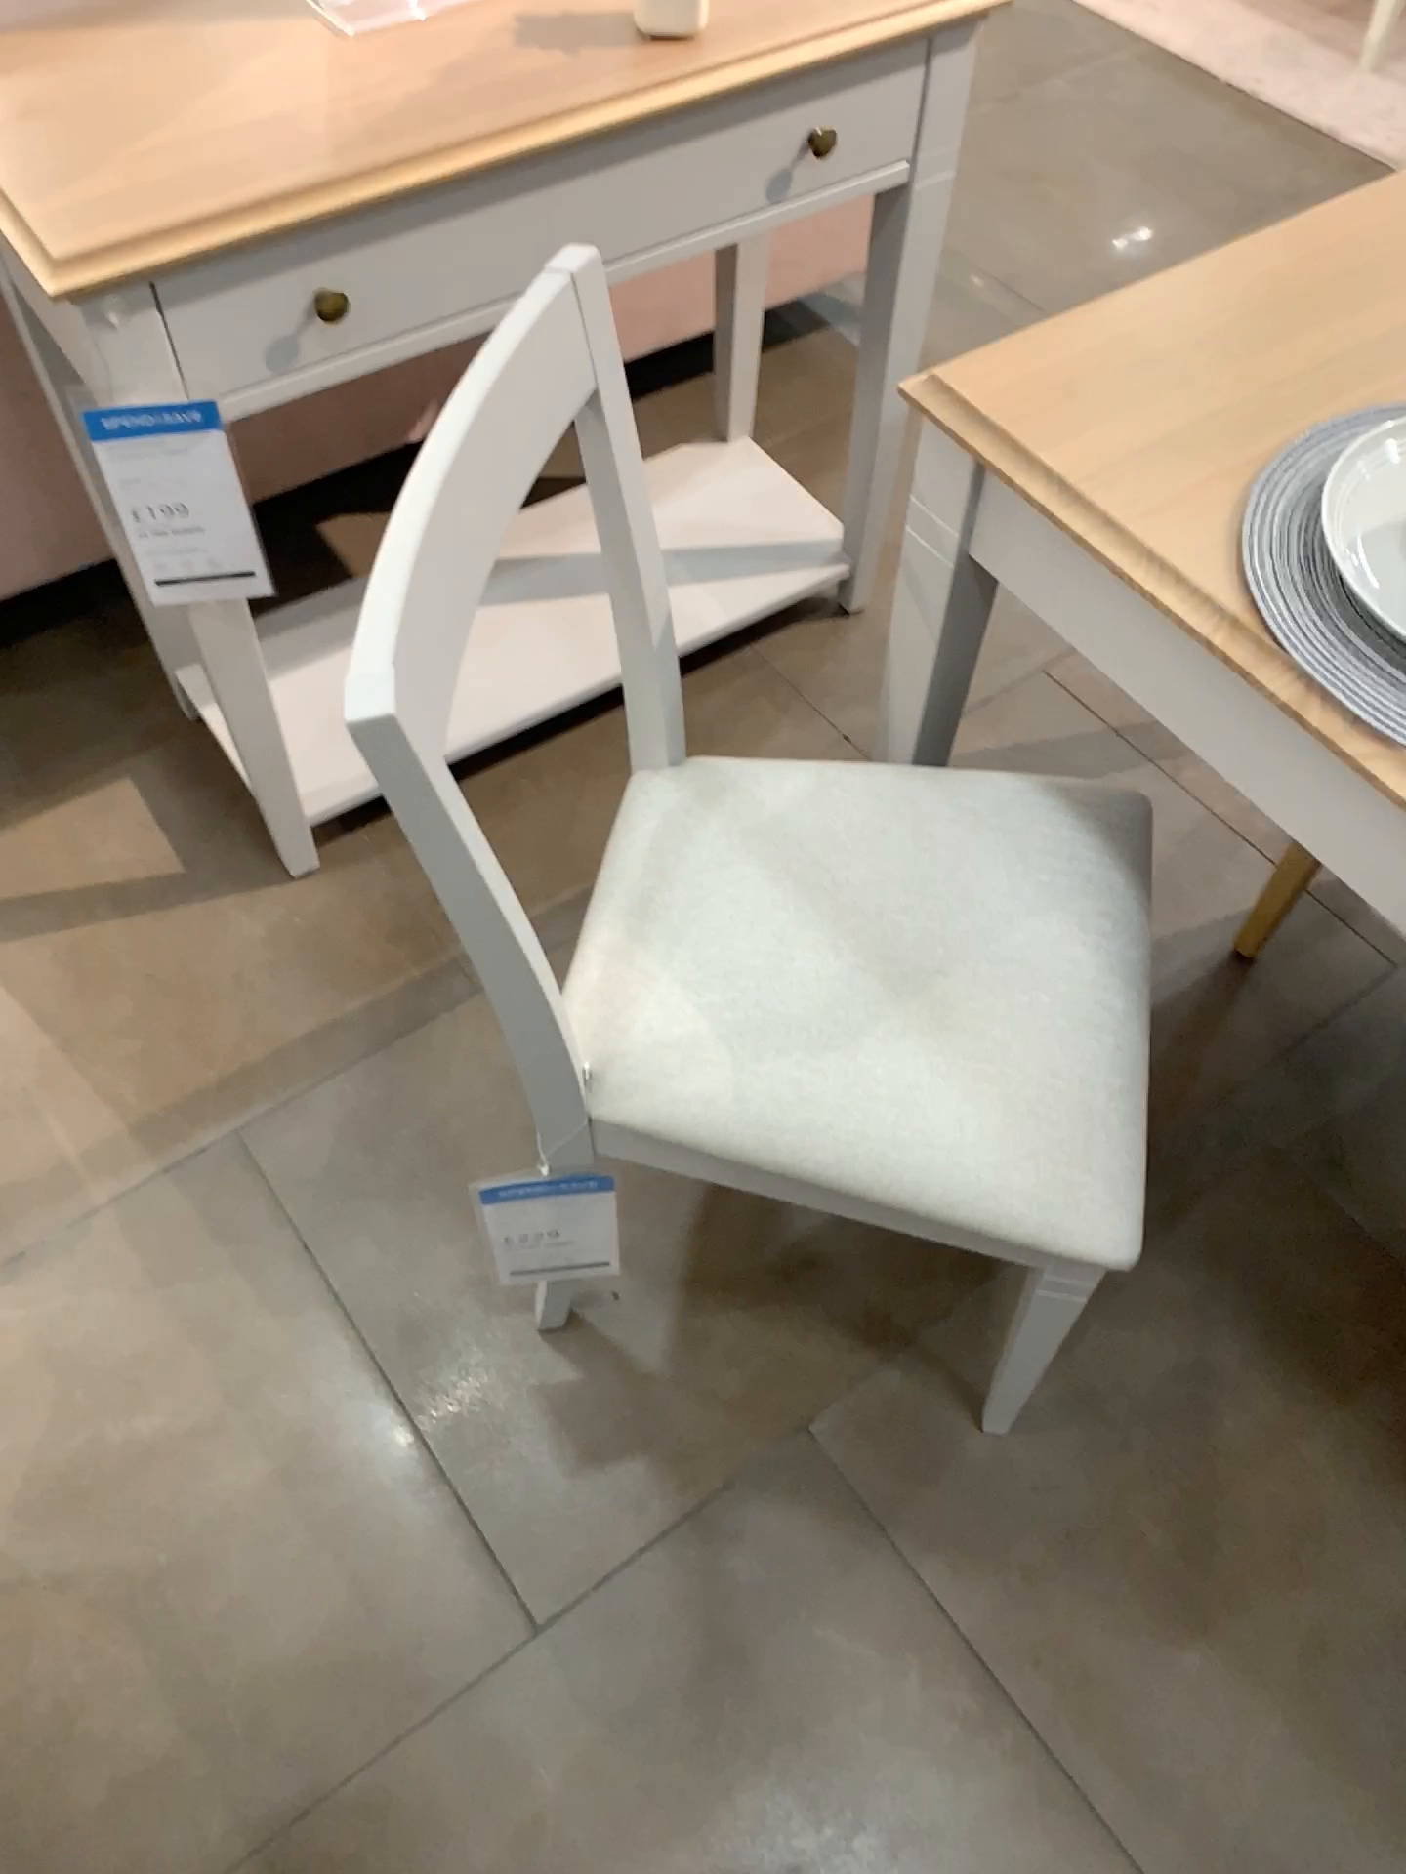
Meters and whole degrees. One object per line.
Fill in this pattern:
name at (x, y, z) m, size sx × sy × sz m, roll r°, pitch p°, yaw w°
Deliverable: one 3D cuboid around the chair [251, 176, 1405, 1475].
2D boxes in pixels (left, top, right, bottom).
chair at (0.092, -0.001, 1.069) m, size 0.507 × 0.833 × 0.465 m, roll 12°, pitch 56°, yaw 7°
